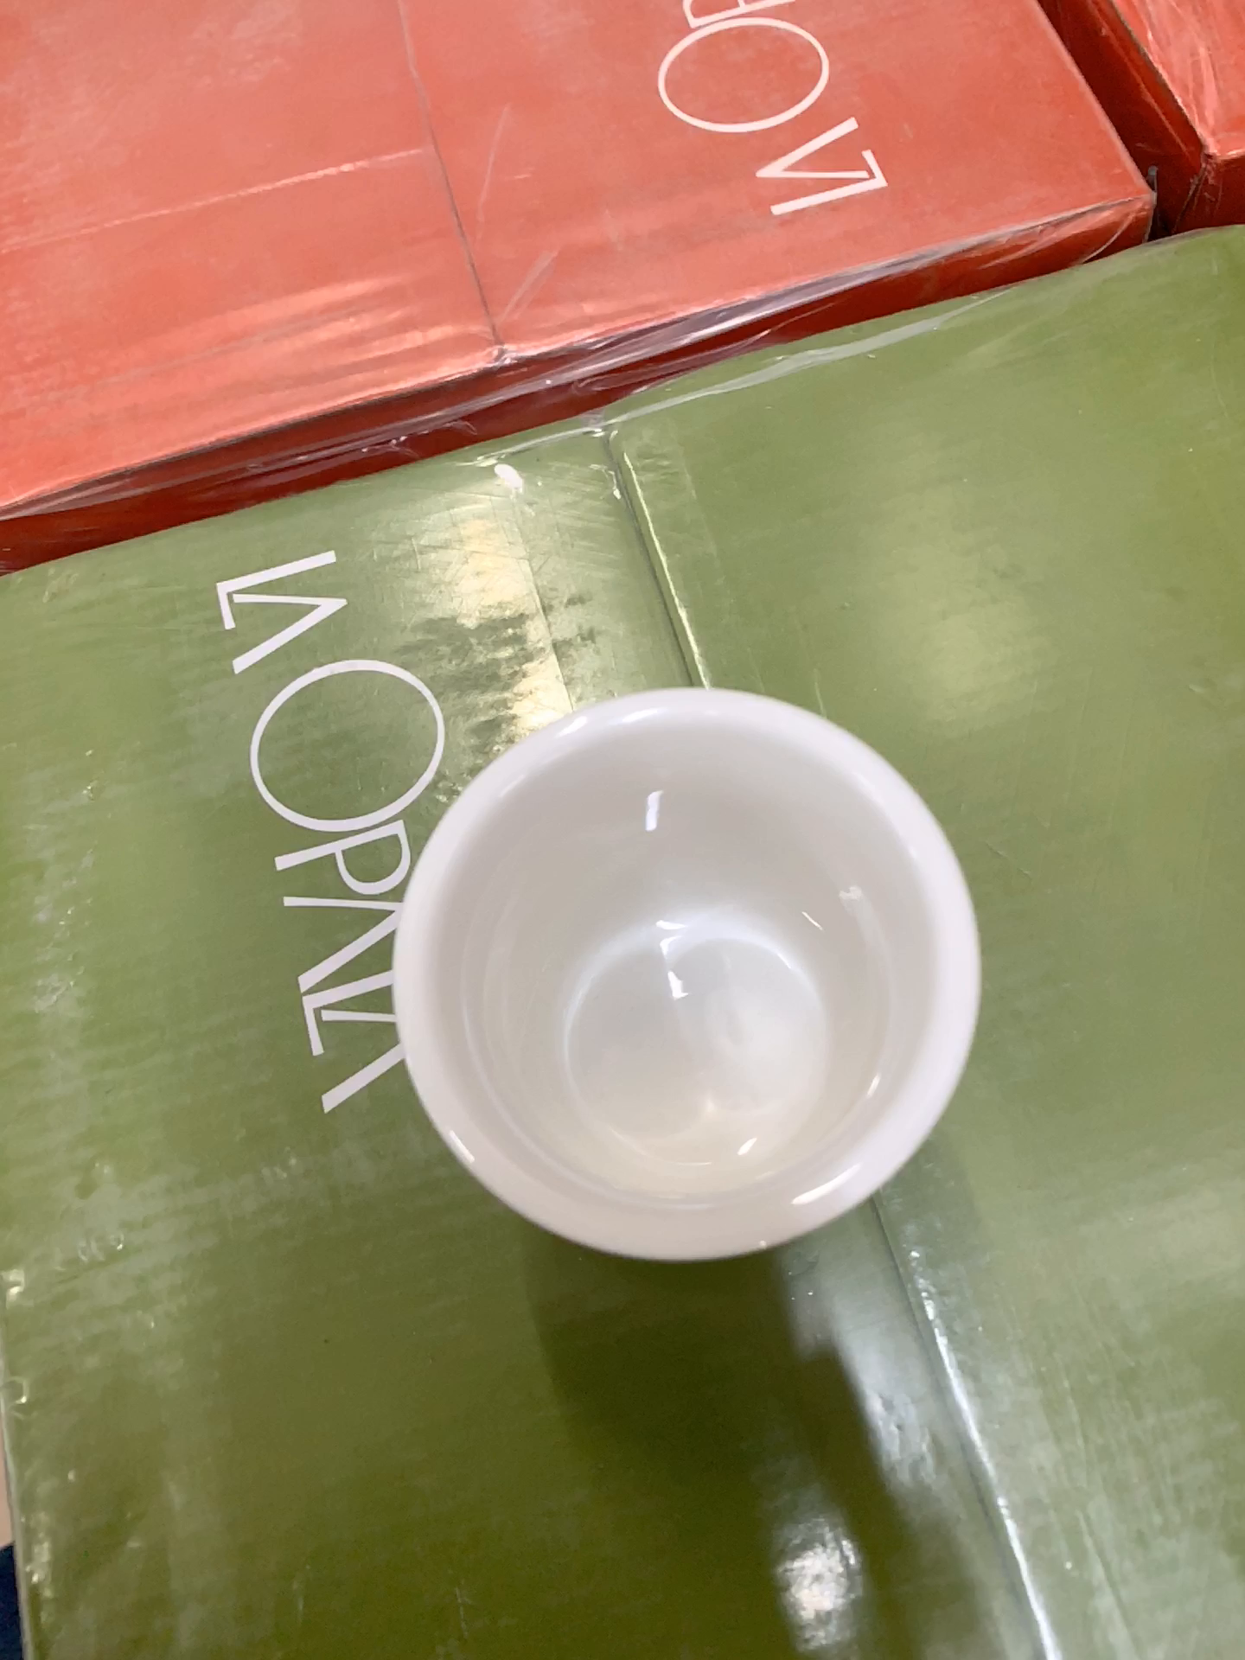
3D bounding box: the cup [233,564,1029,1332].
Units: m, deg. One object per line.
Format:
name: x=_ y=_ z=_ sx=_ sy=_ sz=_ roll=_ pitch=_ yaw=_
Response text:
cup: x=0.005 y=0.018 z=0.171 sx=0.070 sy=0.060 sz=0.070 roll=-2 pitch=68 yaw=4
